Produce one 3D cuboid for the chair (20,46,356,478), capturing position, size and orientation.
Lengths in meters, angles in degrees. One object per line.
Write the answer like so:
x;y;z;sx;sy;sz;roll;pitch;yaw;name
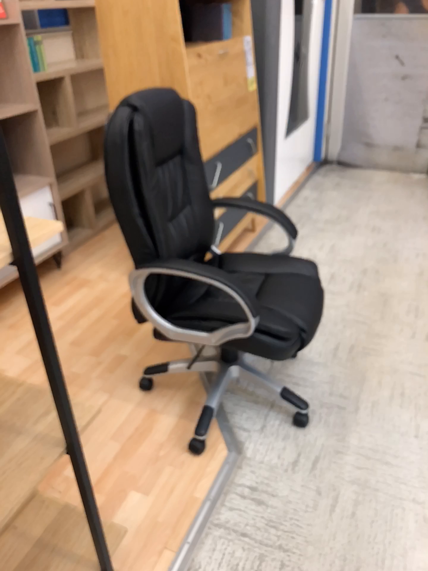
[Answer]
0.035;-0.132;1.515;0.679;1.064;0.765;6;30;15;chair
